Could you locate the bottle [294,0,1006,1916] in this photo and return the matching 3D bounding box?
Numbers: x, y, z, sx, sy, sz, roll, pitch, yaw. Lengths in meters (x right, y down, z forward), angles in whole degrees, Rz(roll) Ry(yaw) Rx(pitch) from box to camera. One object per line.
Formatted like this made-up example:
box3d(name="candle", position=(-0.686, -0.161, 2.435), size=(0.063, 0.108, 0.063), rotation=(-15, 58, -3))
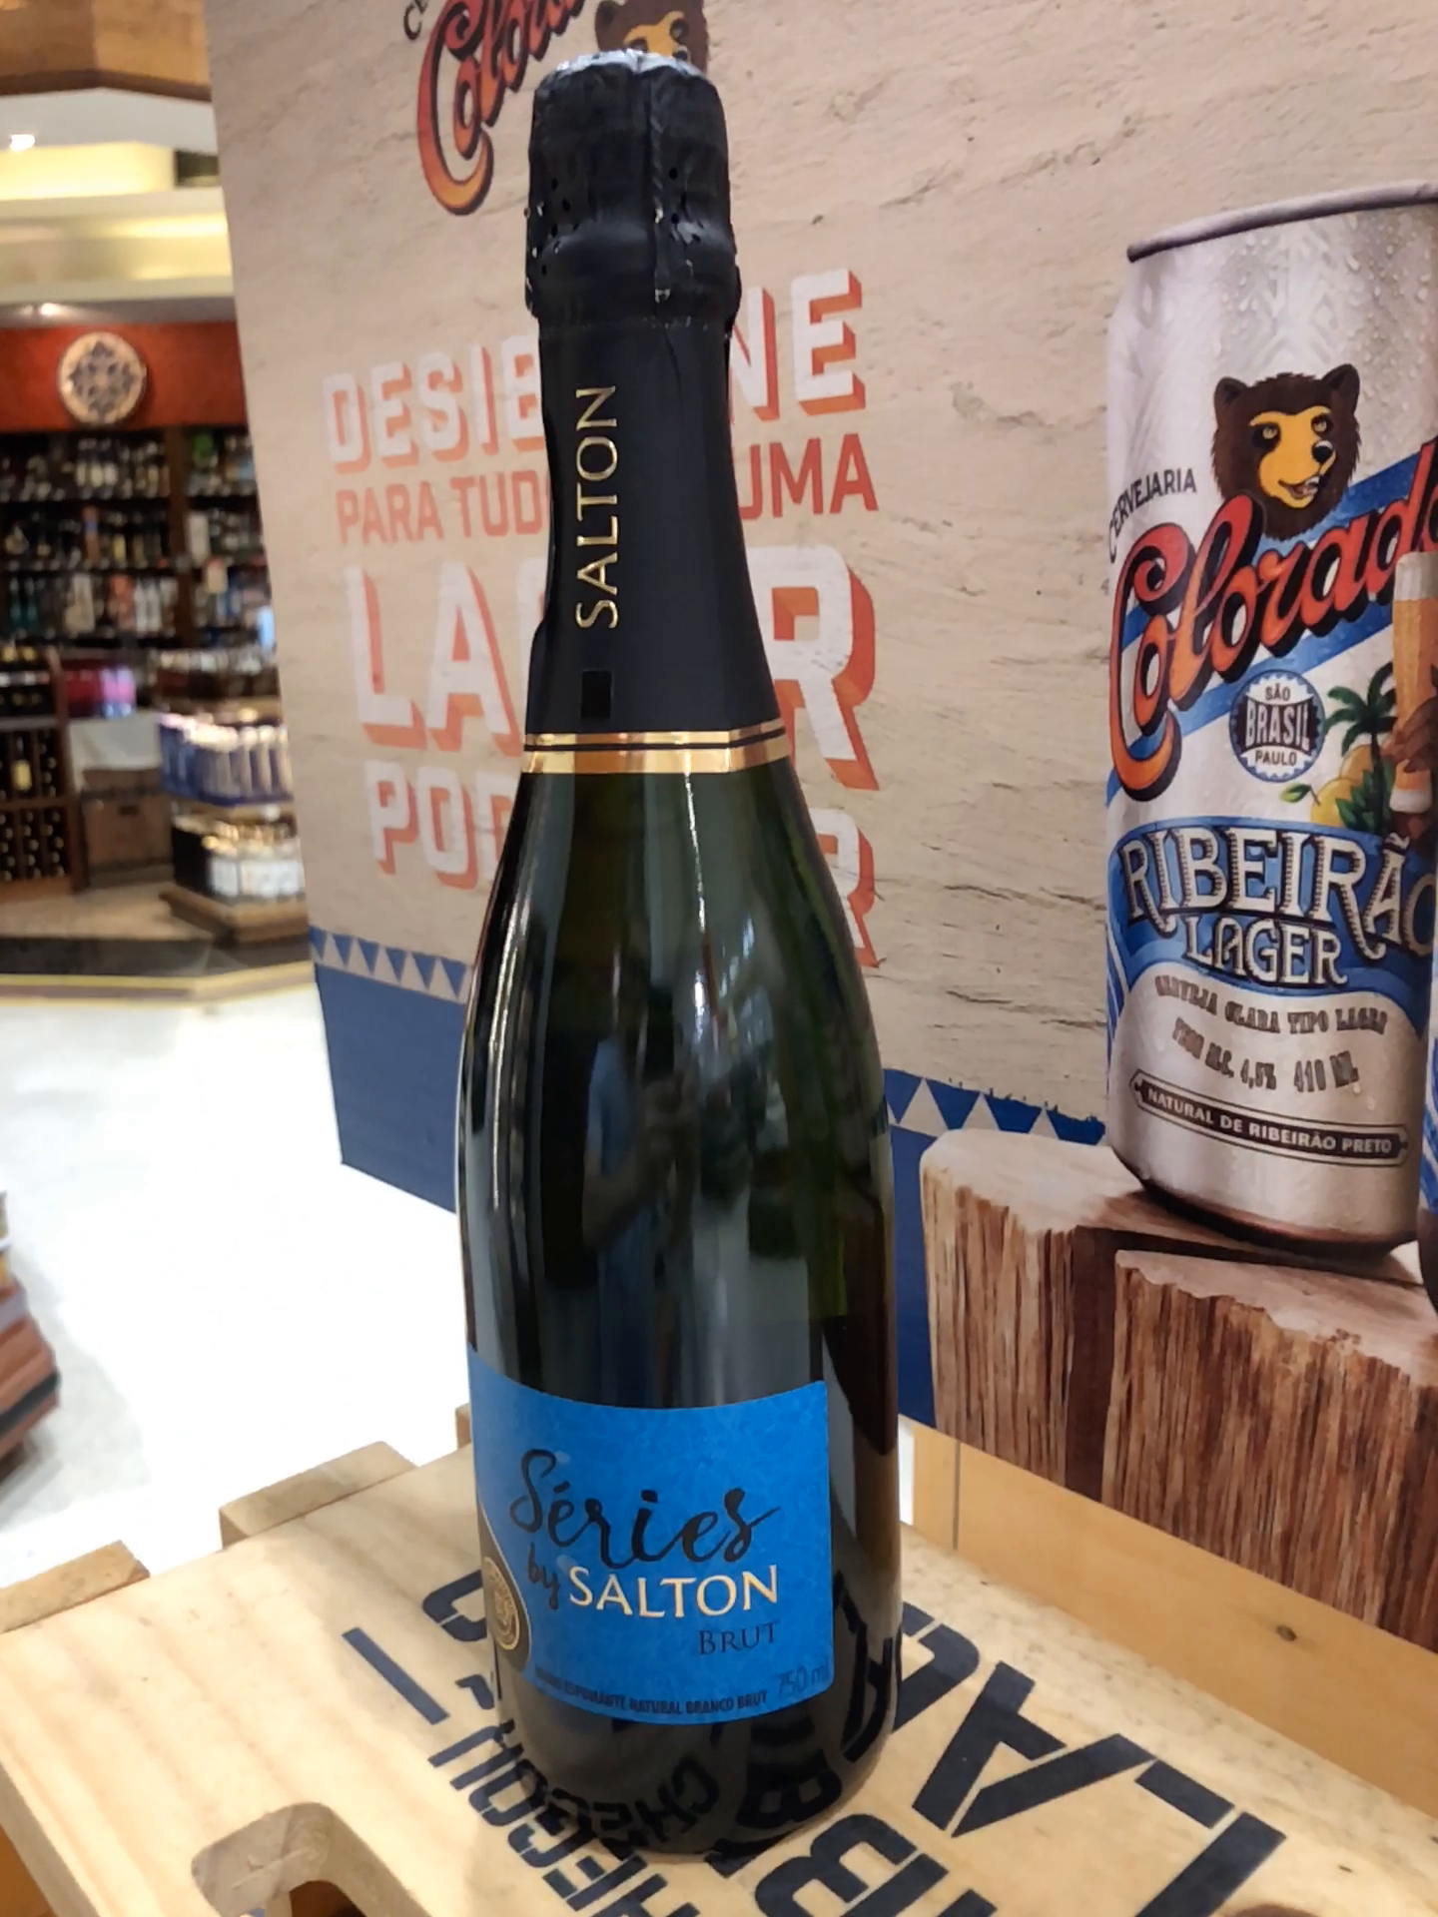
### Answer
box3d(name="bottle", position=(-0.003, -0.004, 0.287), size=(0.090, 0.319, 0.080), rotation=(3, 13, 19))
